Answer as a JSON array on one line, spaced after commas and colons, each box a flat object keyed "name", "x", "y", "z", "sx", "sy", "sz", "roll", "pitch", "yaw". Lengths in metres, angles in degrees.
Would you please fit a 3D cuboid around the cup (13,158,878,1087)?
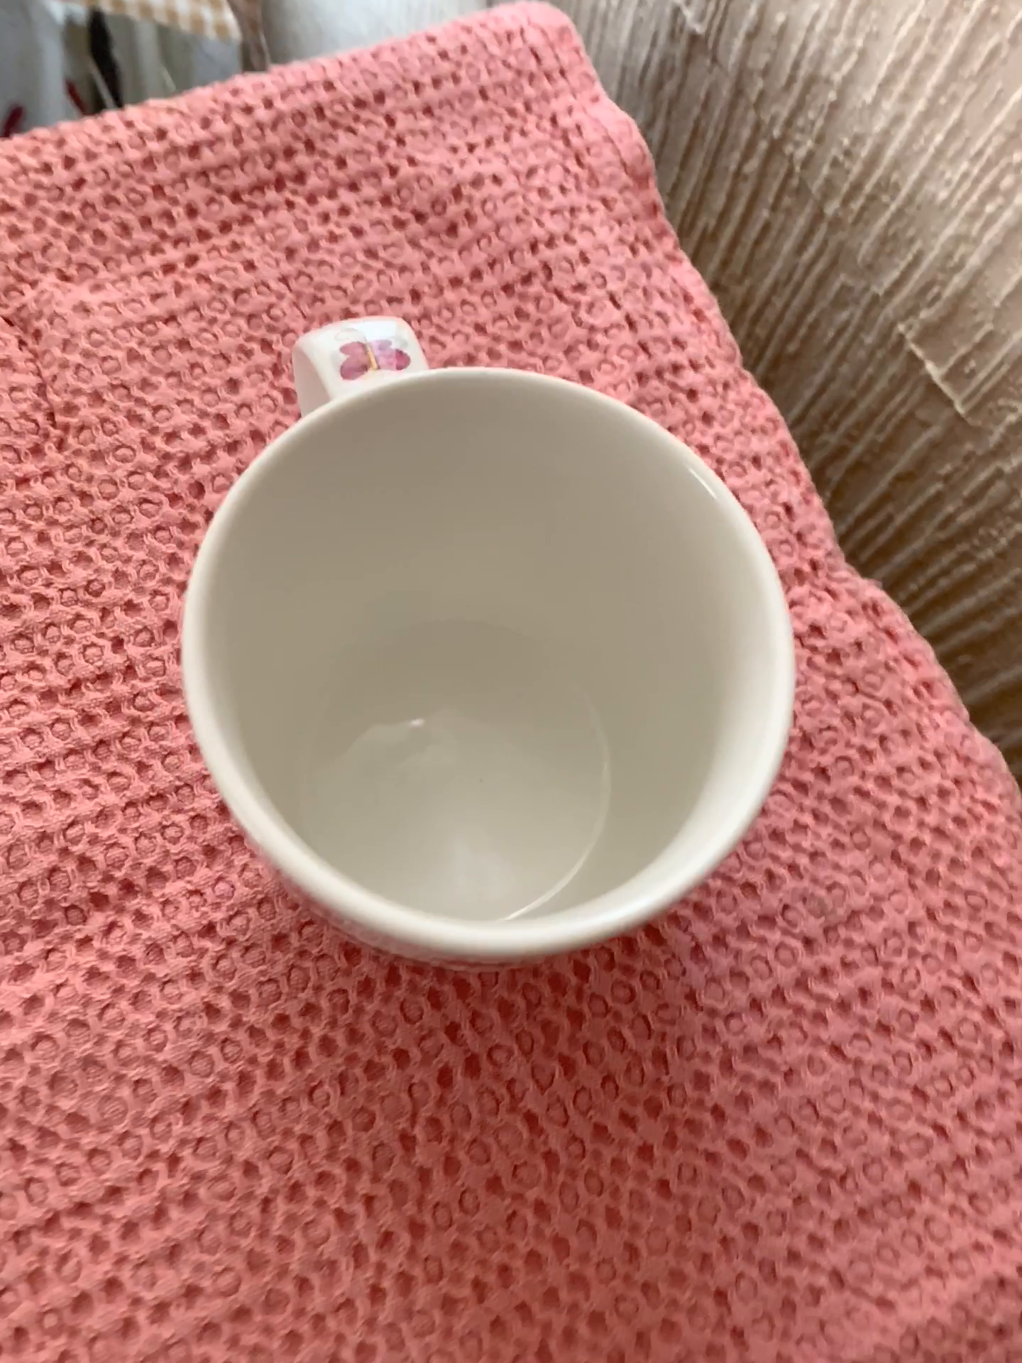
[{"name": "cup", "x": -0.017, "y": -0.006, "z": 0.194, "sx": 0.090, "sy": 0.090, "sz": 0.120, "roll": -17, "pitch": 75, "yaw": -12}]
